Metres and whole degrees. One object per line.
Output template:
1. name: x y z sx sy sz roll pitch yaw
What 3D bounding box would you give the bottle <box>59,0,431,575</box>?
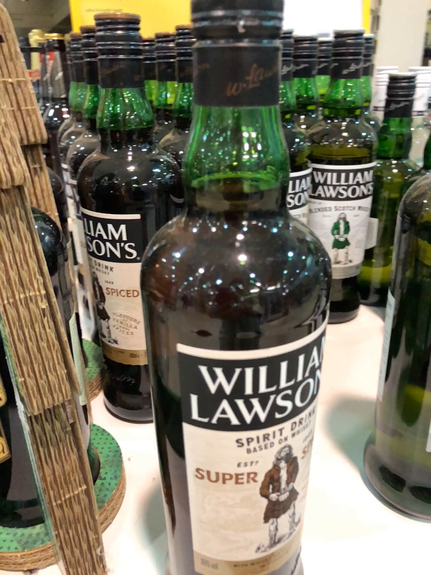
1. bottle: 0.004 0.032 0.209 0.080 0.298 0.090 -13 27 -26
